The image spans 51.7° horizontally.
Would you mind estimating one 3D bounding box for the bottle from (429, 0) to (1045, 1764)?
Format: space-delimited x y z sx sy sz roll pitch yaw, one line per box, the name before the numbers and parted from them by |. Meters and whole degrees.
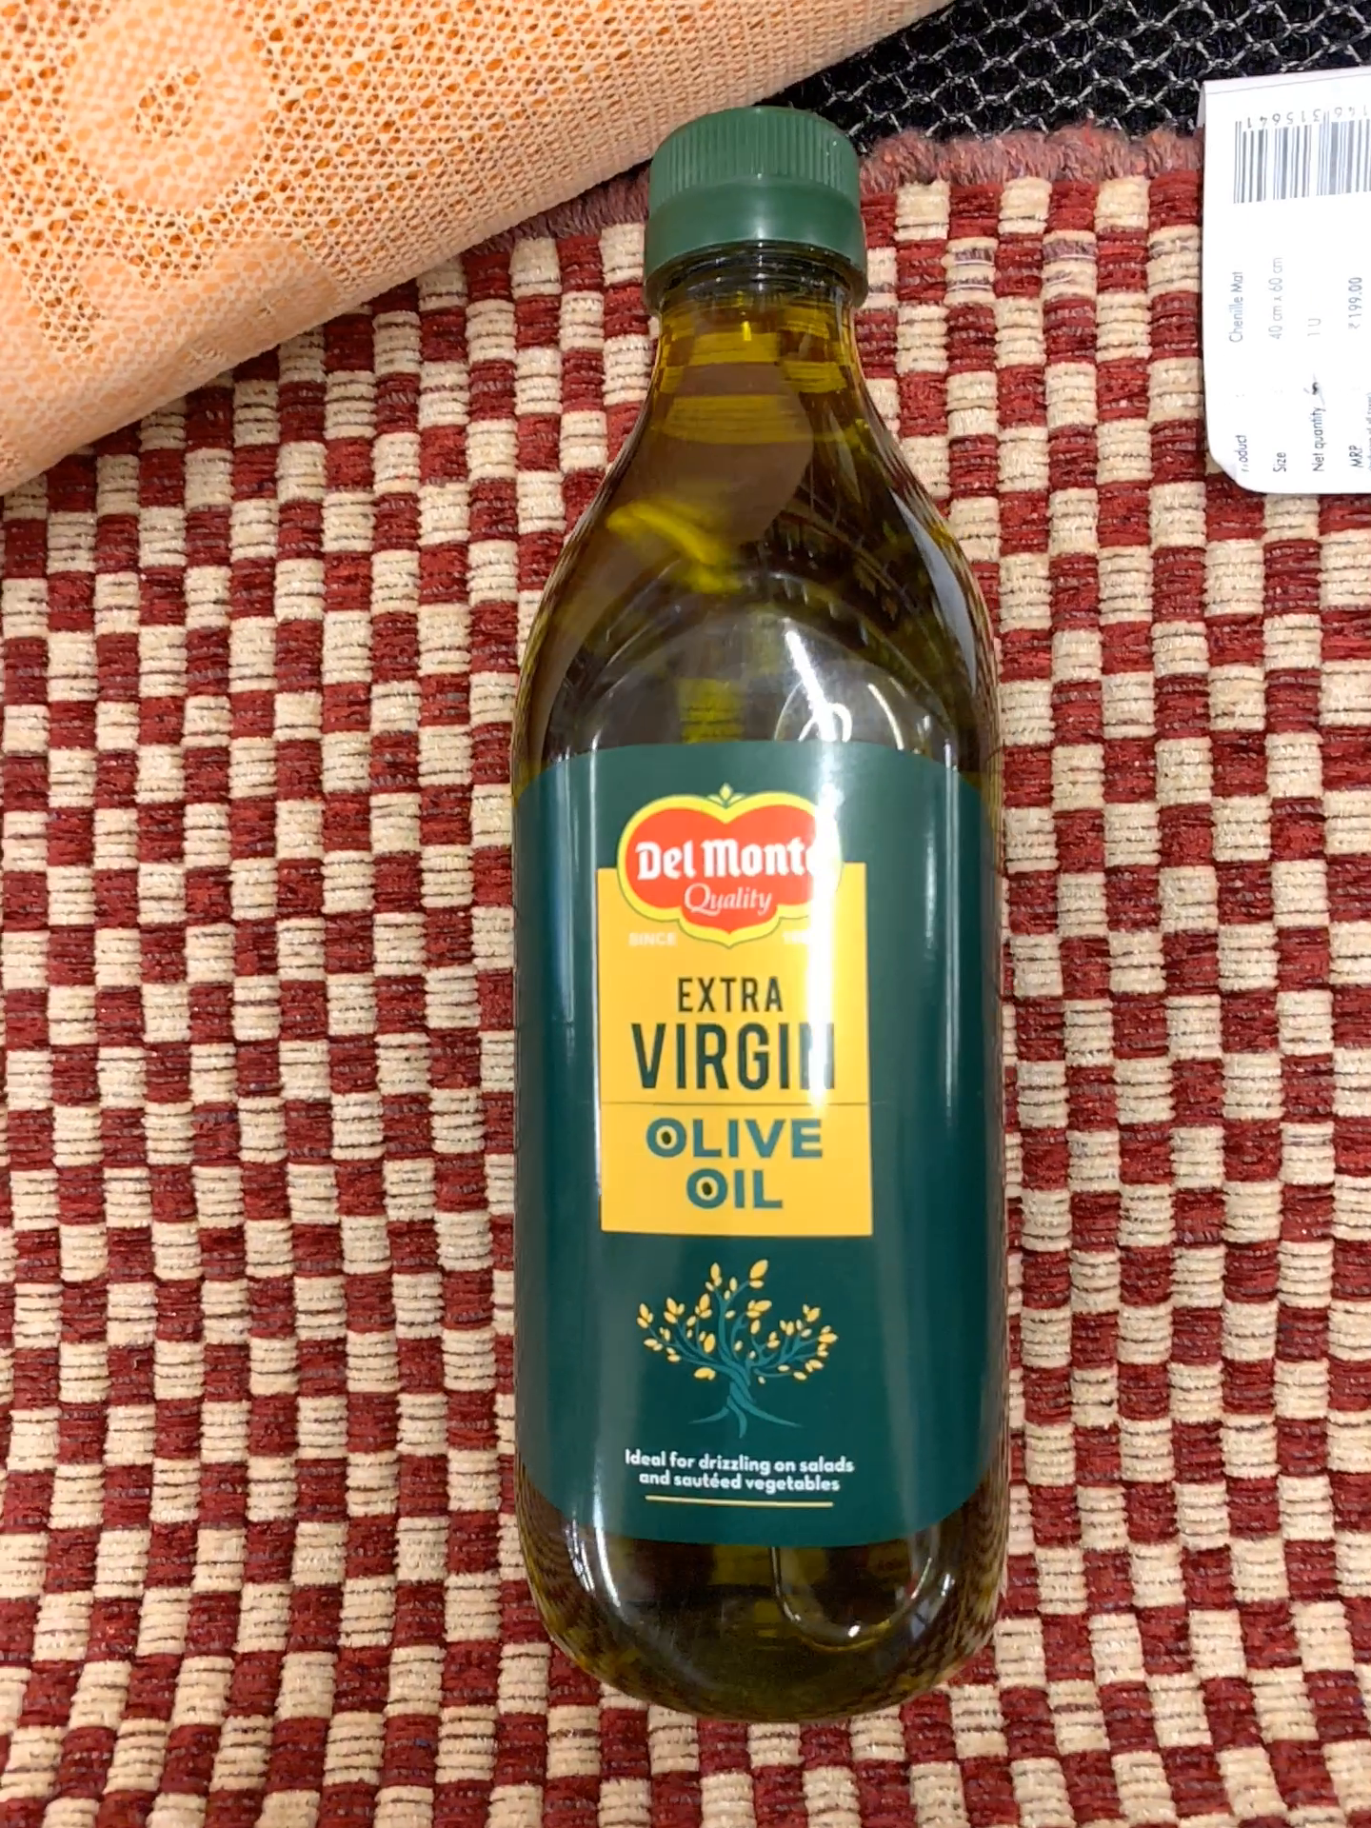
bottle | 0.006 -0.010 0.233 0.080 0.080 0.250 1 90 -2
